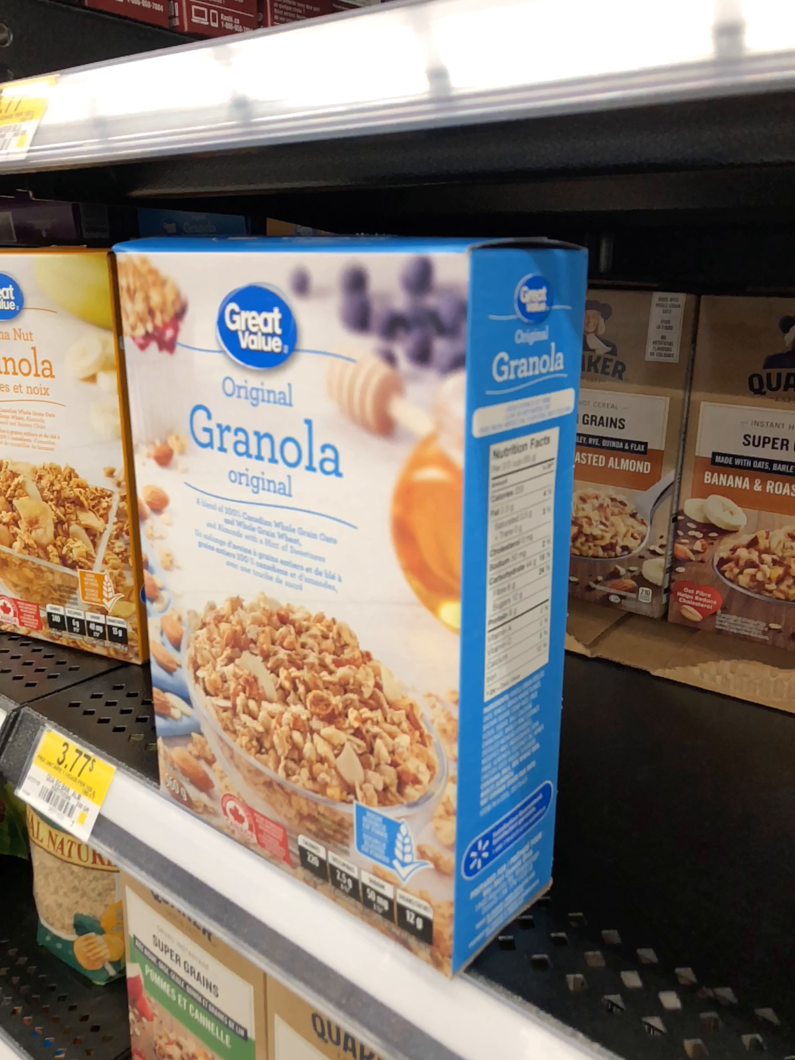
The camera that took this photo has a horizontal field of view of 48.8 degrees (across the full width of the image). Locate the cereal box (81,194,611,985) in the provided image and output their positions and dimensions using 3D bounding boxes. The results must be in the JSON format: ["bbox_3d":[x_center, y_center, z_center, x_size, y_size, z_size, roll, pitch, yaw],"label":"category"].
[{"bbox_3d":[-0.024,0.006,0.303,0.160,0.219,0.070,14,21,38],"label":"cereal box"}]
